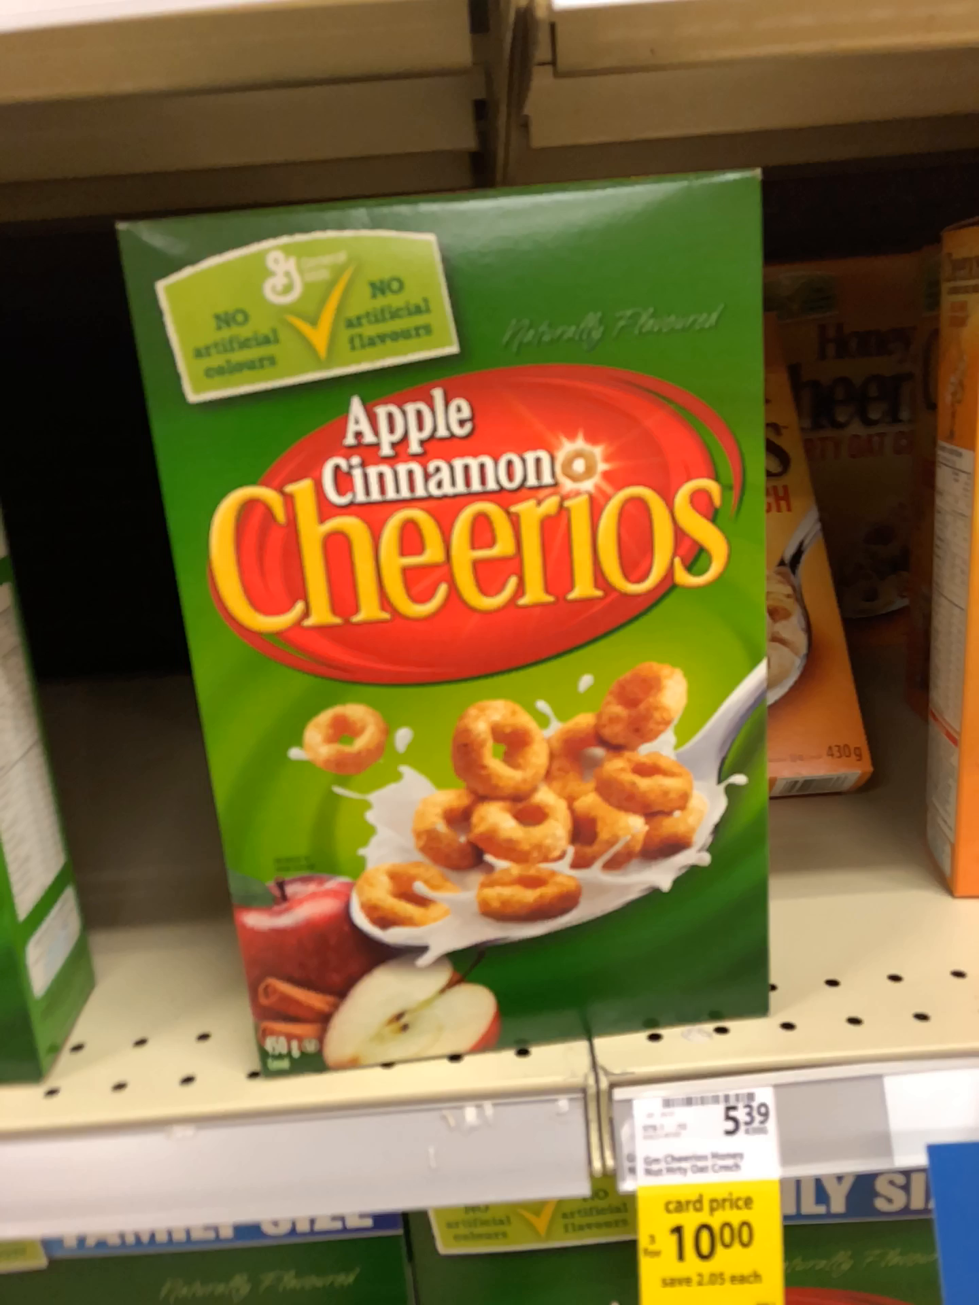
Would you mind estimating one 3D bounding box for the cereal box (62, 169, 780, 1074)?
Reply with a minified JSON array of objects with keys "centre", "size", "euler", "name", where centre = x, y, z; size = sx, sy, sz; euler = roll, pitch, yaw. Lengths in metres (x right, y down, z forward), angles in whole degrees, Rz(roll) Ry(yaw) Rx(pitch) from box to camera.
[{"centre":[-0.010,-0.006,0.385],"size":[0.210,0.289,0.070],"euler":[-6,17,-4],"name":"cereal box"}]
